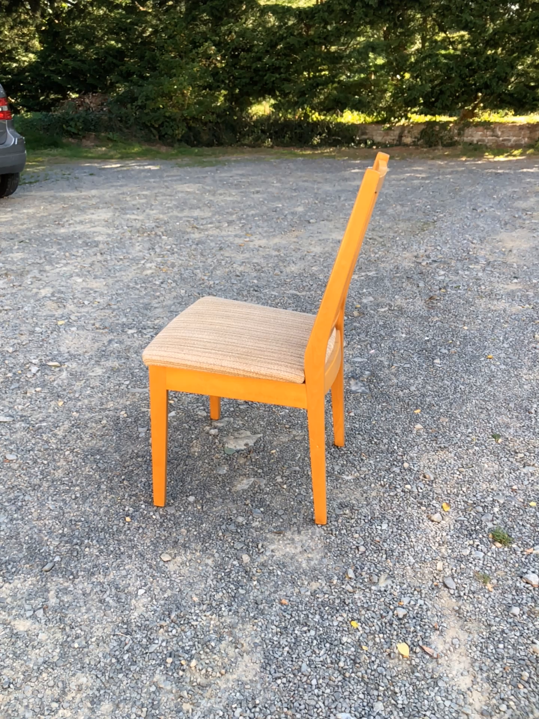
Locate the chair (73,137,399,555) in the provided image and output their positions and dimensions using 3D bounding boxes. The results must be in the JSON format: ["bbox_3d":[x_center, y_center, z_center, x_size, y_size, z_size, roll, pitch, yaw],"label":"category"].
[{"bbox_3d":[0.001,-0.077,1.504,0.590,0.845,0.604,3,26,13],"label":"chair"}]
